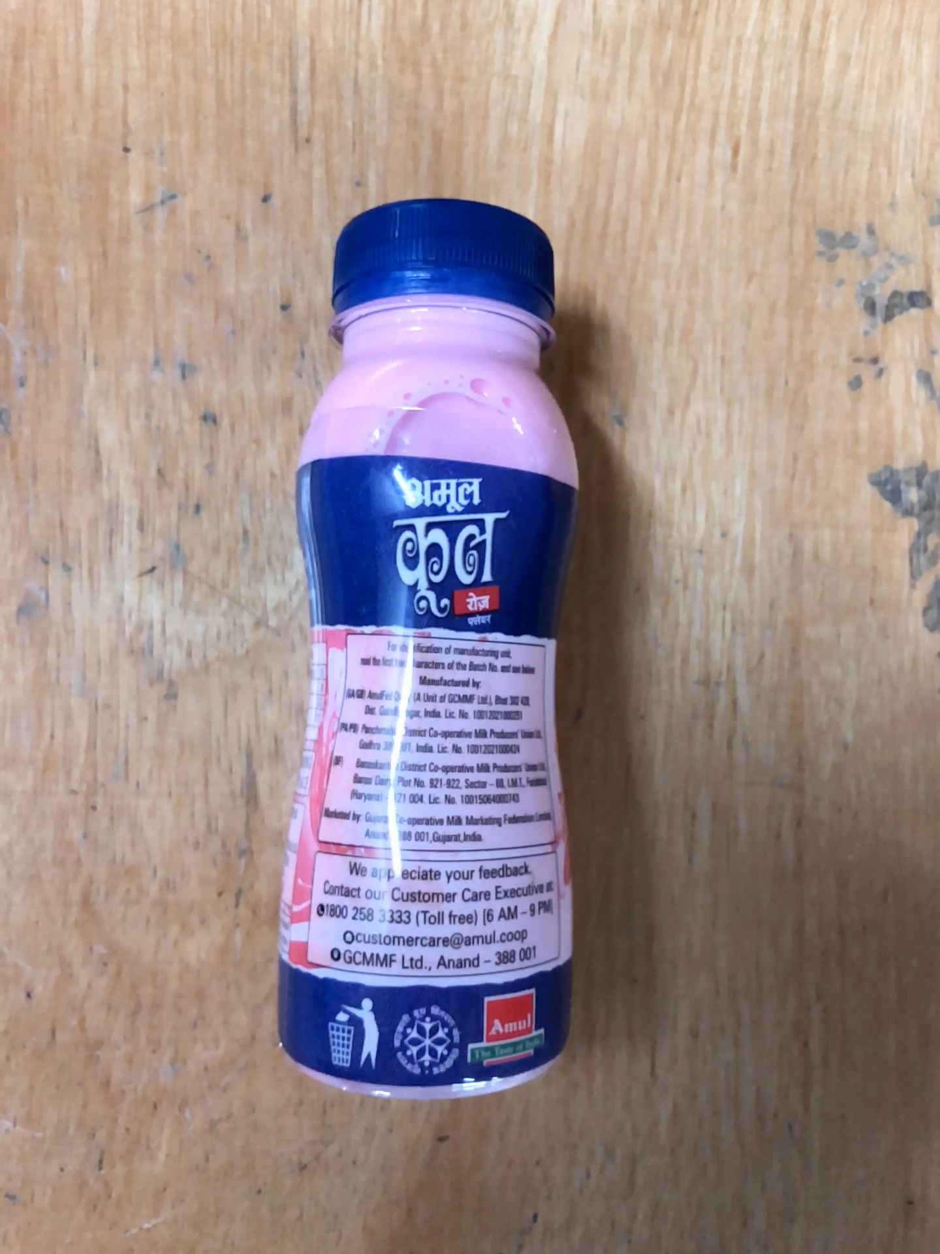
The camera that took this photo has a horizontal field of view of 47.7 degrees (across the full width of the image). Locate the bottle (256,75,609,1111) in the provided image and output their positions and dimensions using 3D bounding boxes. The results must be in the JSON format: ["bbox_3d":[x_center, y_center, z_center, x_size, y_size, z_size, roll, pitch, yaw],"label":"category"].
[{"bbox_3d":[-0.008,-0.005,0.178,0.050,0.040,0.150,1,89,-10],"label":"bottle"}]
